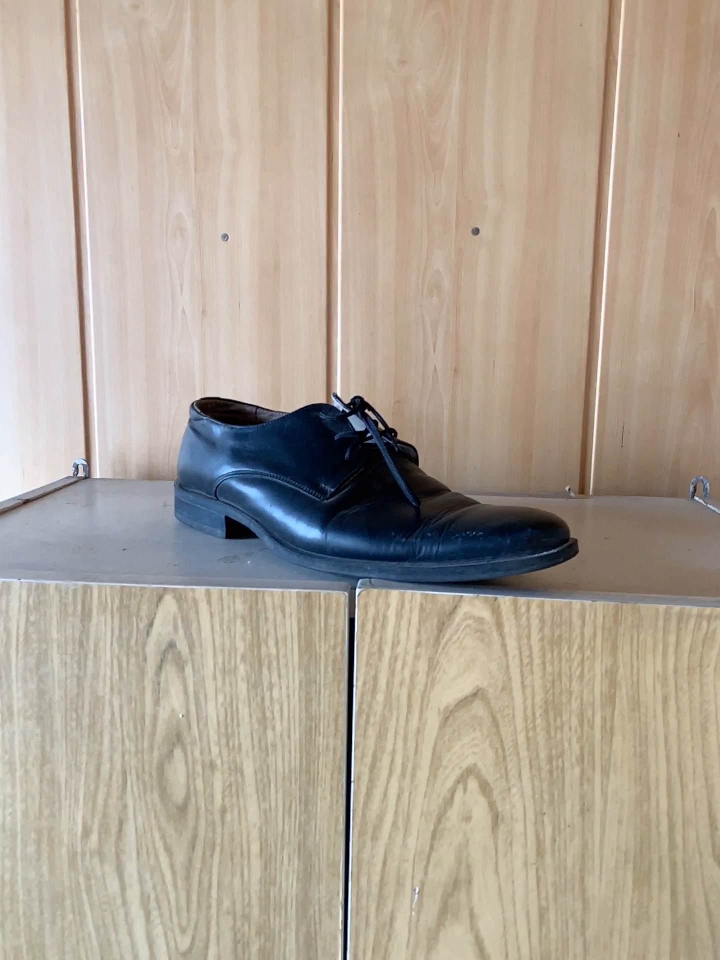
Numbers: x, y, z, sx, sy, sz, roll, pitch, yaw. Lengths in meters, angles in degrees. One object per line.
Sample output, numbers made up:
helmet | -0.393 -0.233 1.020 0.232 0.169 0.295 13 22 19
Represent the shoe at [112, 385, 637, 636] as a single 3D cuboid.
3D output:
shoe | -0.006 -0.005 0.459 0.300 0.090 0.140 9 13 39
